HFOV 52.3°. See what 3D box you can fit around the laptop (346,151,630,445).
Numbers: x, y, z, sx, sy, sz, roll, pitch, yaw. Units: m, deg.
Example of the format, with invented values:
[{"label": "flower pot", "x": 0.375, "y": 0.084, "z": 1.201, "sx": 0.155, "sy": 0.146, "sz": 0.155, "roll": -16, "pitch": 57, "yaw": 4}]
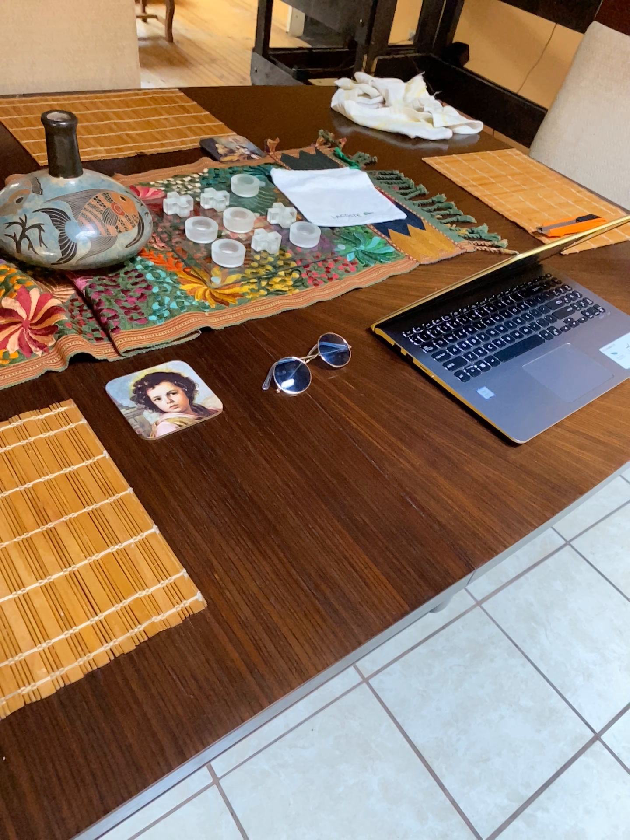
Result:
[{"label": "laptop", "x": 0.276, "y": -0.181, "z": 0.824, "sx": 0.378, "sy": 0.181, "sz": 0.250, "roll": -25, "pitch": 55, "yaw": -33}]
